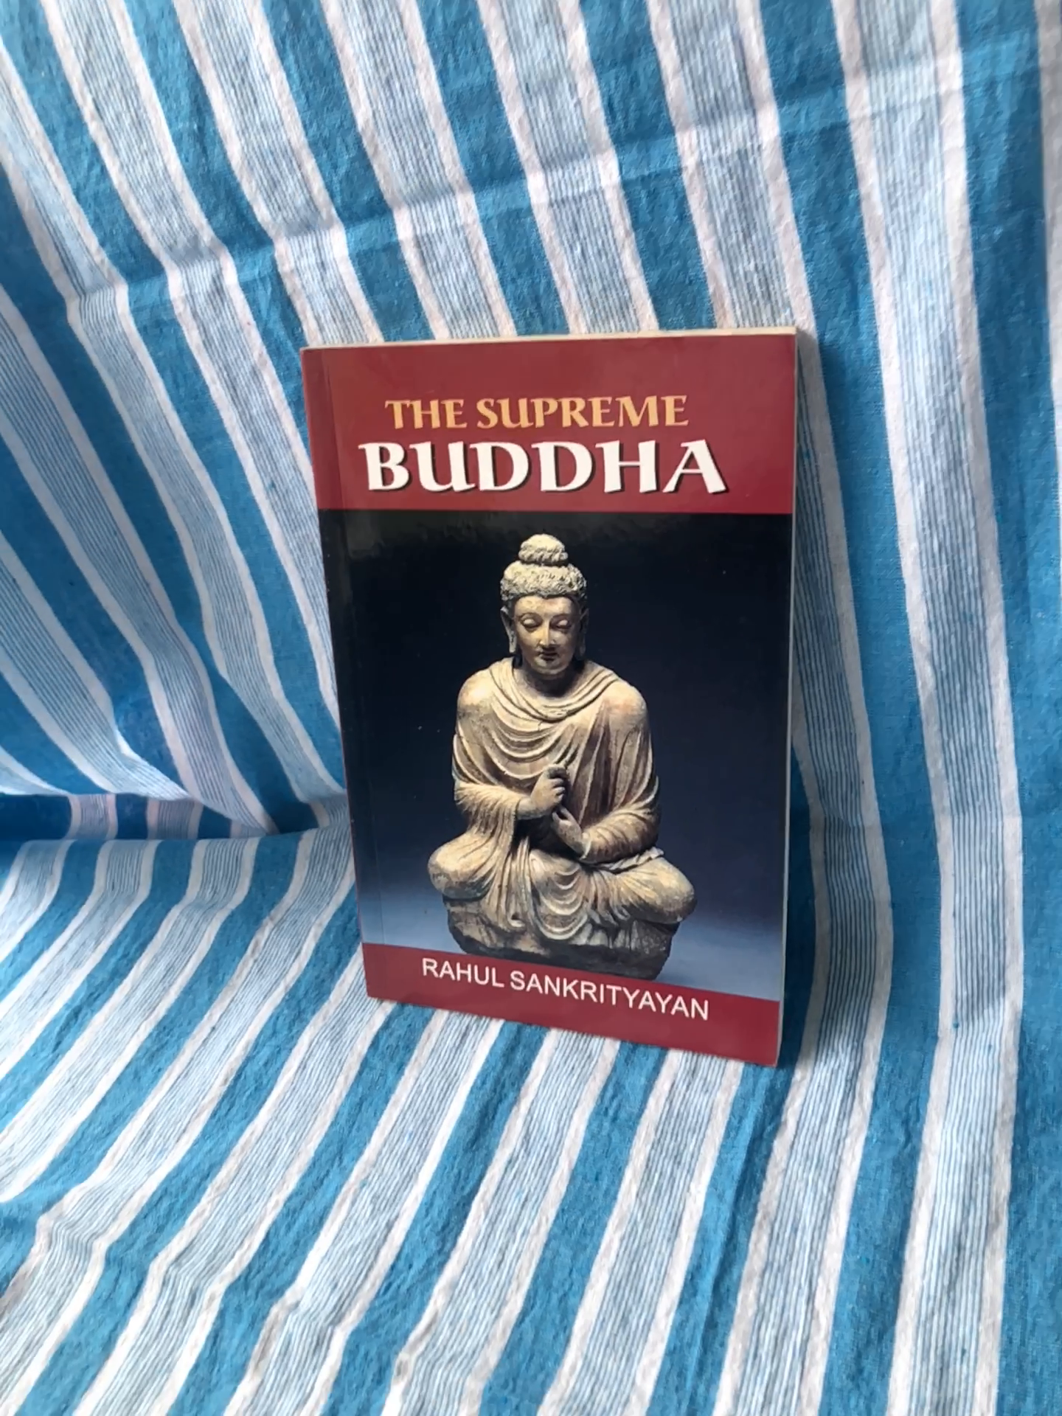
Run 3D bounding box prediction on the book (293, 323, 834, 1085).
[{"bbox_3d":[0.010,0.001,0.357,0.150,0.219,0.020,4,19,20],"label":"book"}]
